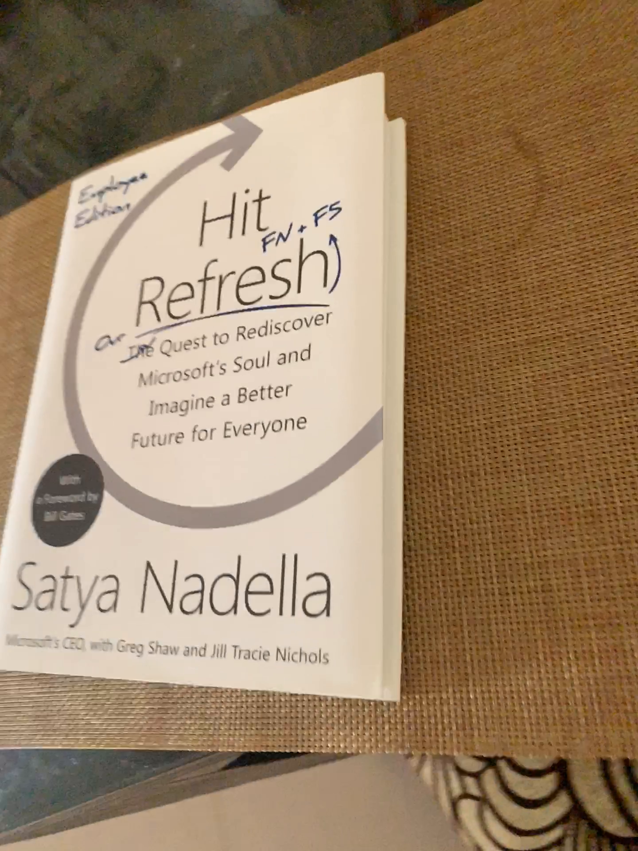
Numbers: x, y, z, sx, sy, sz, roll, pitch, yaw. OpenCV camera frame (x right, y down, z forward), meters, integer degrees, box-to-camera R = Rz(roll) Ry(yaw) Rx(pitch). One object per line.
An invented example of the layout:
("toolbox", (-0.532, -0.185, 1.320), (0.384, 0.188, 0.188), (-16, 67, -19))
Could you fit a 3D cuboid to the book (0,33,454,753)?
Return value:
("book", (-0.044, -0.018, 0.272), (0.191, 0.040, 0.250), (-6, 69, 26))
